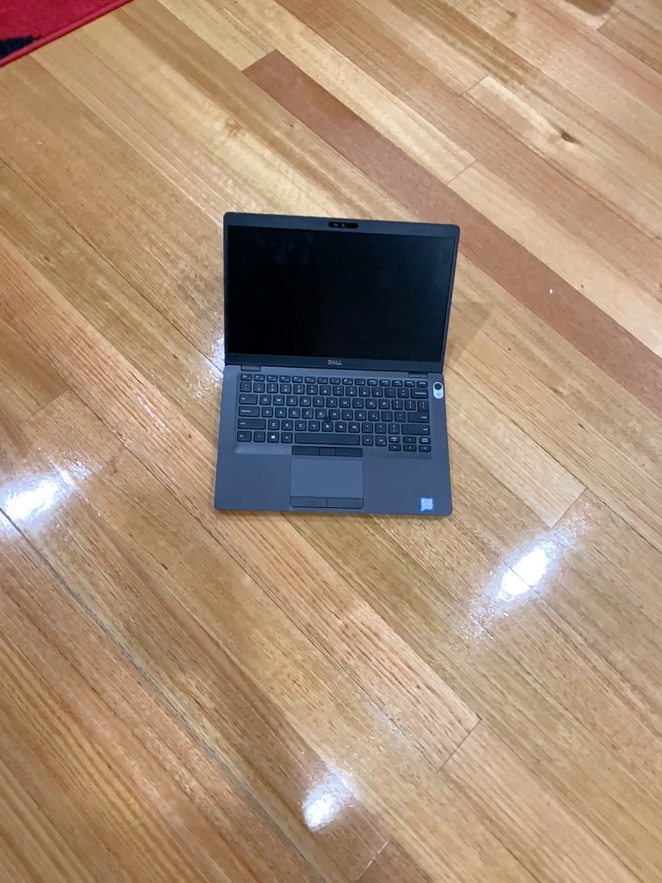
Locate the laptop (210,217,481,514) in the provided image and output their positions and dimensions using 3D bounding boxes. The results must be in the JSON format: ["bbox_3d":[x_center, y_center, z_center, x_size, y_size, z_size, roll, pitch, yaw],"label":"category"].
[{"bbox_3d":[0.017,-0.103,0.926,0.320,0.134,0.372,2,68,-4],"label":"laptop"}]
